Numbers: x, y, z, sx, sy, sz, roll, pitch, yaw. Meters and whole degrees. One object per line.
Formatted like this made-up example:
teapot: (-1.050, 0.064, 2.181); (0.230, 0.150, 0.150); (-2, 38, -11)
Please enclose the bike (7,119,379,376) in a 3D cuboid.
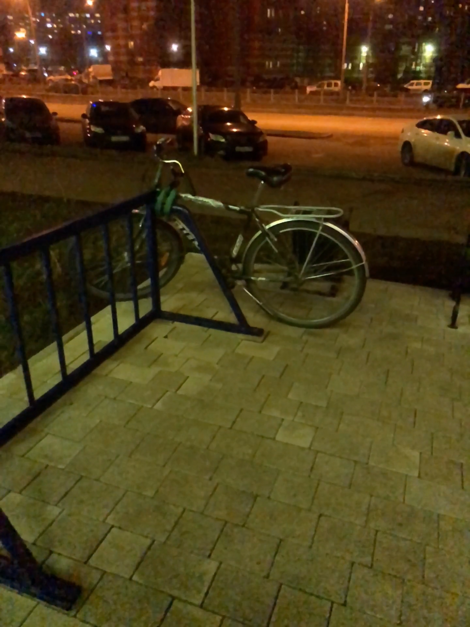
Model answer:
bike: (-0.153, -0.413, 2.840); (1.717, 1.046, 0.683); (8, 26, 8)
